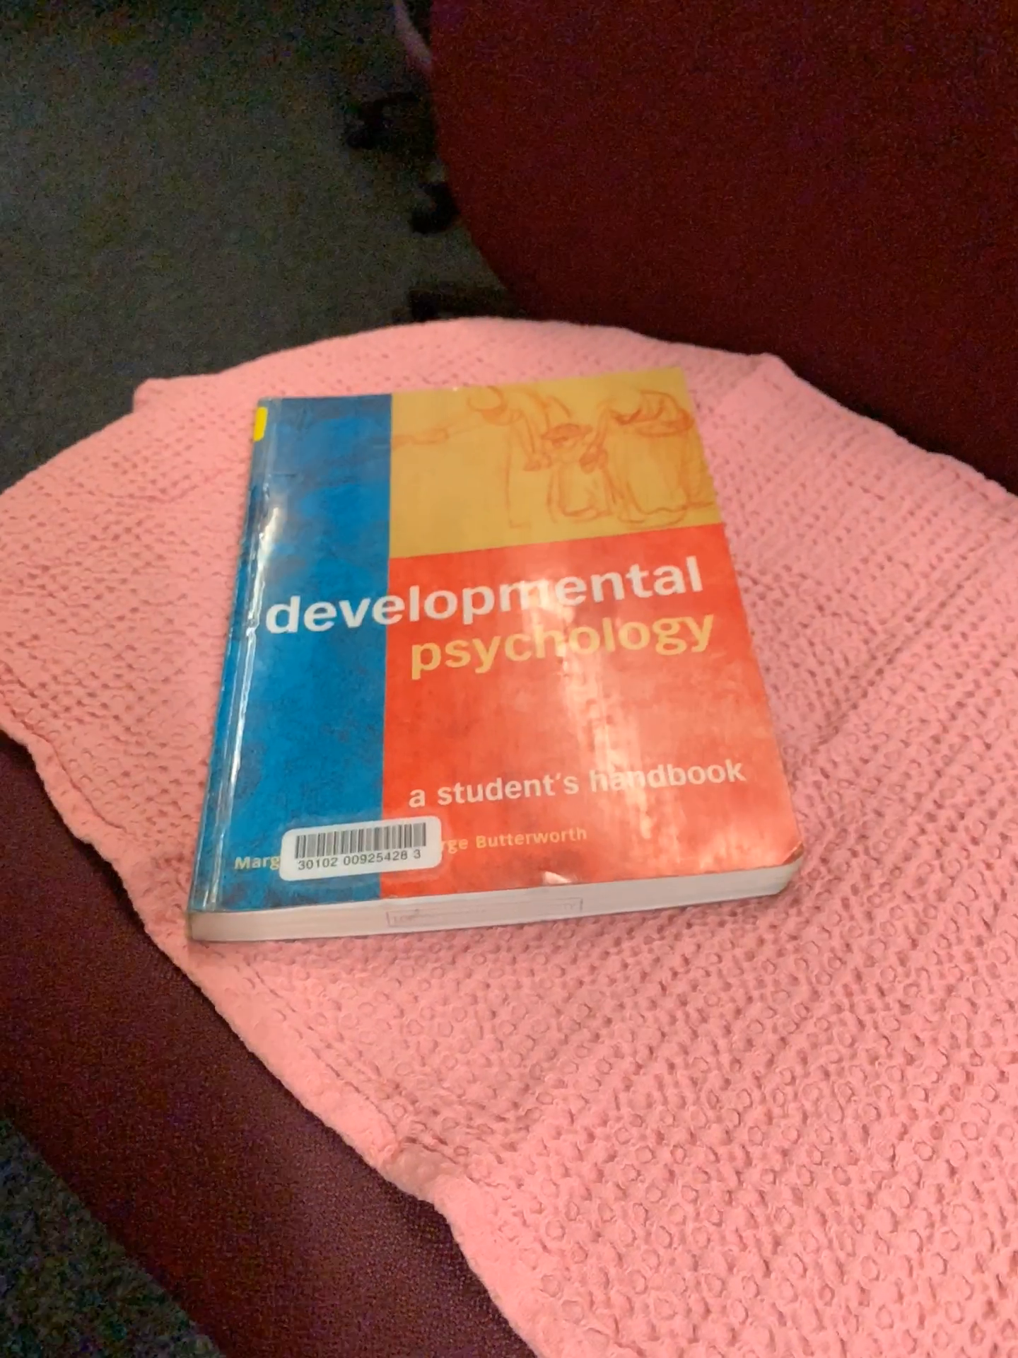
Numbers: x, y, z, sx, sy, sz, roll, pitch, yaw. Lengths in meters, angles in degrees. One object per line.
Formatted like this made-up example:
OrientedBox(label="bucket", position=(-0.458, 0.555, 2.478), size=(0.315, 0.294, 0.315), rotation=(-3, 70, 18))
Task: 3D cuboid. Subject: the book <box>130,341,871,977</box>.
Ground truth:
OrientedBox(label="book", position=(-0.010, -0.029, 0.397), size=(0.210, 0.040, 0.262), rotation=(-4, 50, -1))
